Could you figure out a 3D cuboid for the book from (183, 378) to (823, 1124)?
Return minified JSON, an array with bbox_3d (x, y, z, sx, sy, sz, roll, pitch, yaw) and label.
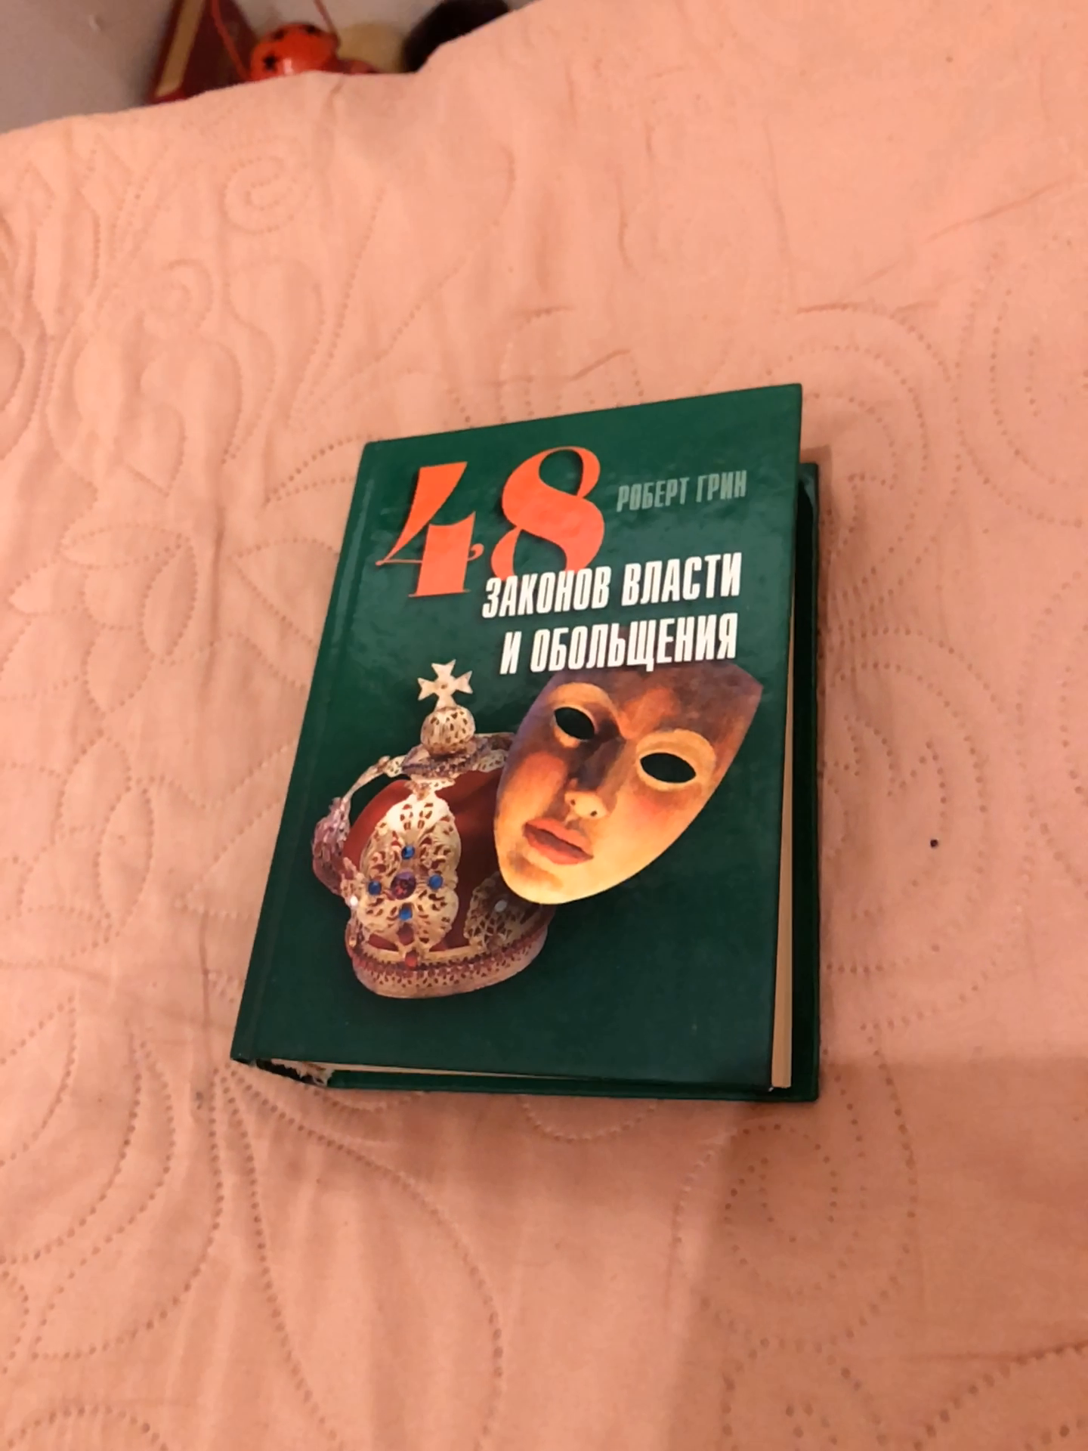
[{"bbox_3d":[-0.001,0.001,0.248,0.110,0.032,0.143,-2,62,18],"label":"book"}]
